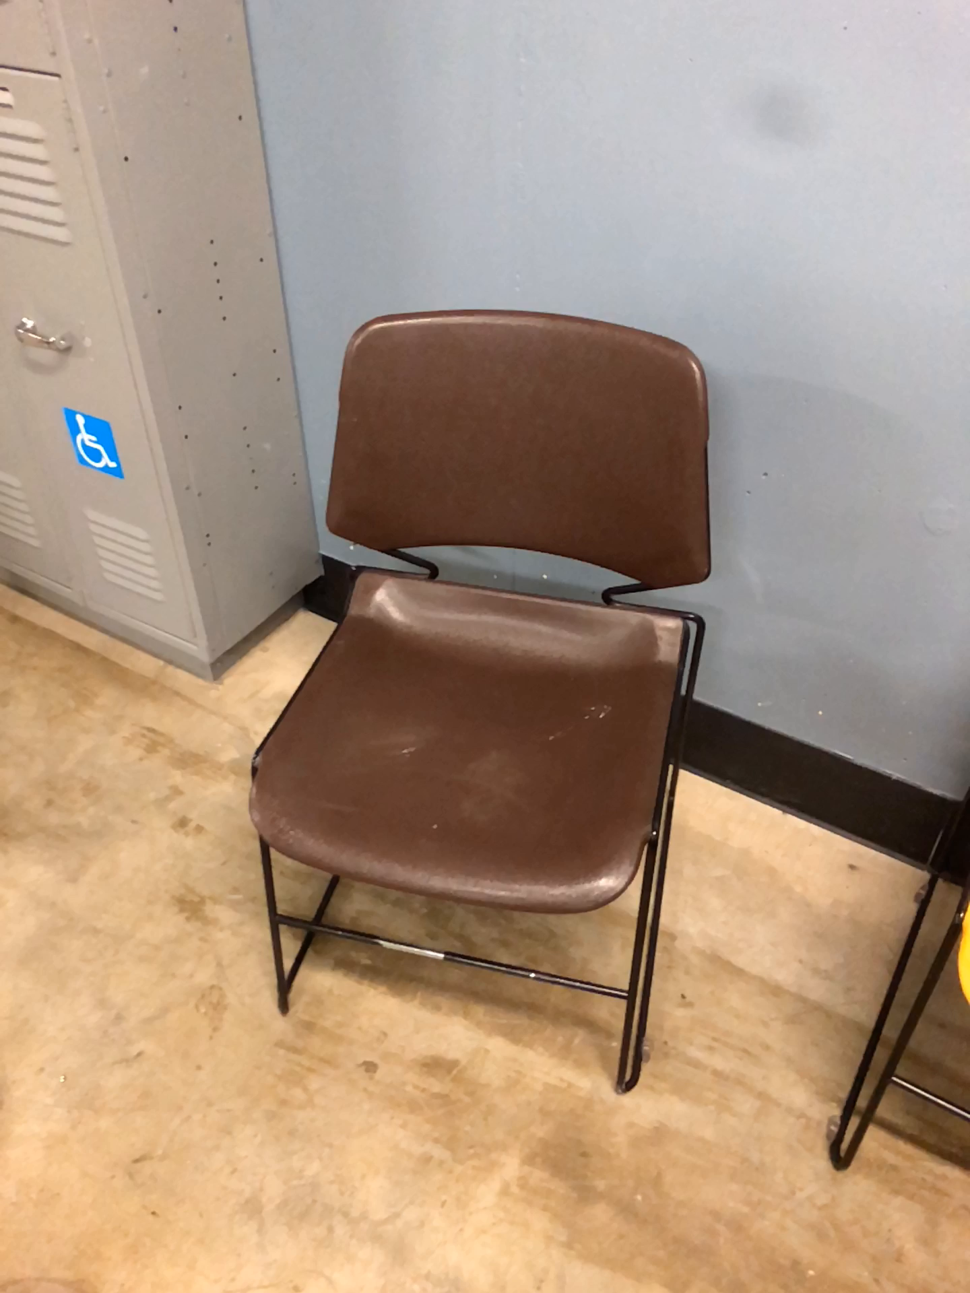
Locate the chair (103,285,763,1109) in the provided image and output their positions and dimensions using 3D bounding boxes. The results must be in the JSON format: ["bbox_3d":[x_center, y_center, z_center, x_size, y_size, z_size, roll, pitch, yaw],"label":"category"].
[{"bbox_3d":[0.001,0.059,1.283,0.516,0.751,0.548,9,41,11],"label":"chair"}]
